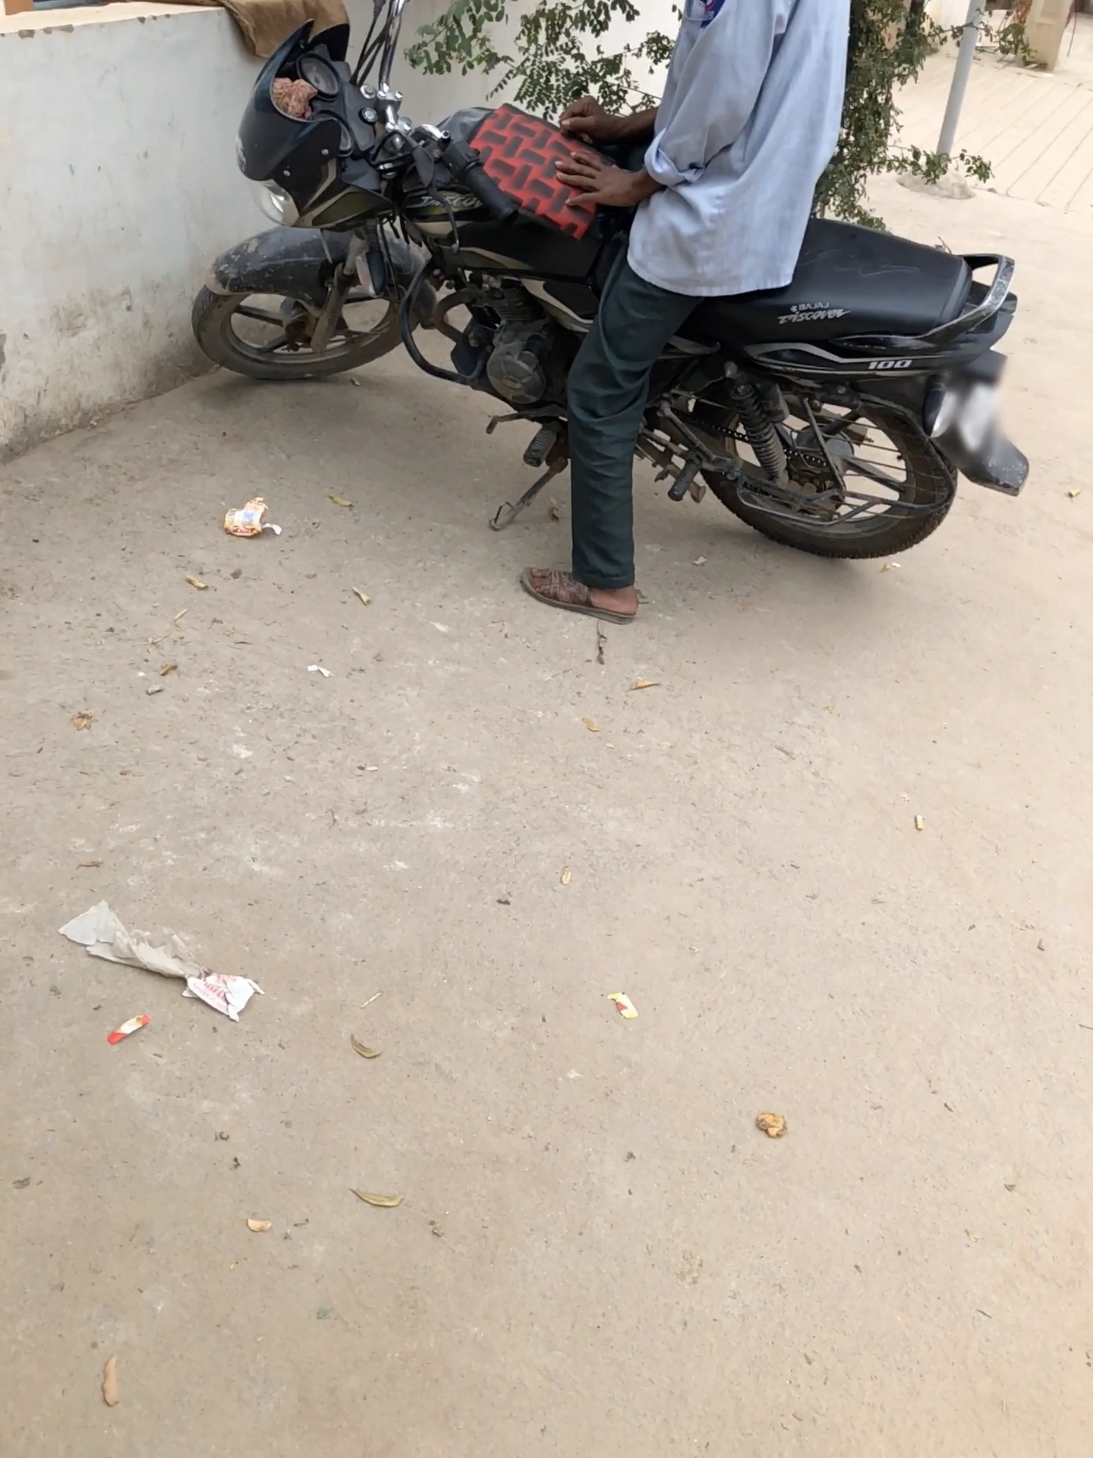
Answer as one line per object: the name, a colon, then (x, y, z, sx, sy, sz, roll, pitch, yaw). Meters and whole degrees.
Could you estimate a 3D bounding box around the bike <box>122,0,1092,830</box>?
bike: (0.115, -0.786, 2.362, 1.496, 1.332, 0.791, 16, 38, 13)
